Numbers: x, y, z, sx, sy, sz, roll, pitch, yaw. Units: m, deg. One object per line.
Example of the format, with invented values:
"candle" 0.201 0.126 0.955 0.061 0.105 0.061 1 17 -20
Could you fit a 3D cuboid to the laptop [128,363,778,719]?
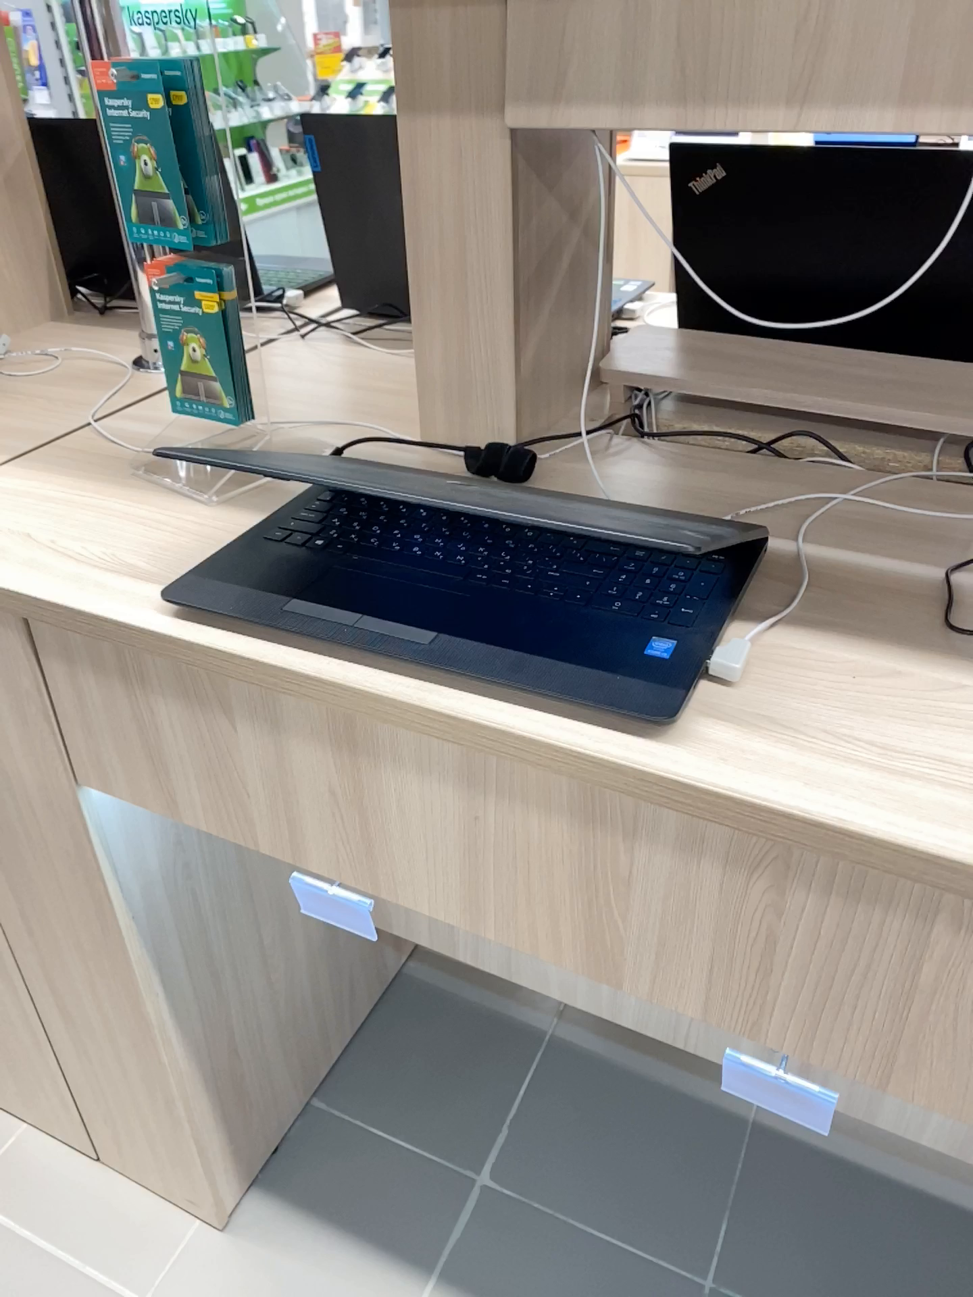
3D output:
"laptop" -0.013 -0.102 0.703 0.373 0.093 0.252 13 36 22
